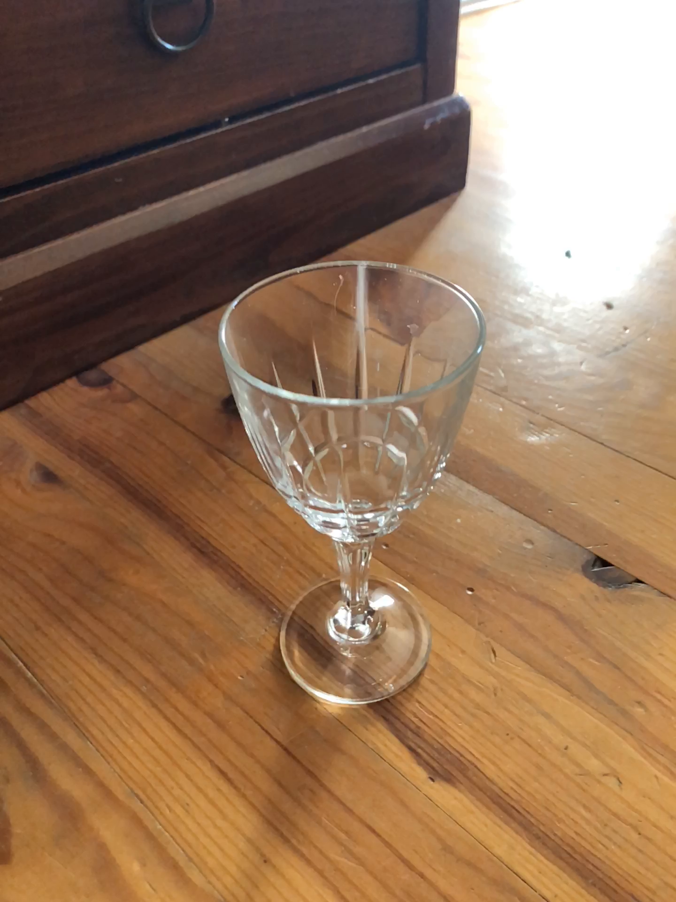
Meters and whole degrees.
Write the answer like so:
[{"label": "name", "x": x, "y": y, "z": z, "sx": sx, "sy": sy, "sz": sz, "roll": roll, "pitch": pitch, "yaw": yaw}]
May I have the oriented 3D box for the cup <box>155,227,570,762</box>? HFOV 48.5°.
[{"label": "cup", "x": 0.007, "y": 0.015, "z": 0.259, "sx": 0.085, "sy": 0.141, "sz": 0.084, "roll": -1, "pitch": 39, "yaw": 0}]
